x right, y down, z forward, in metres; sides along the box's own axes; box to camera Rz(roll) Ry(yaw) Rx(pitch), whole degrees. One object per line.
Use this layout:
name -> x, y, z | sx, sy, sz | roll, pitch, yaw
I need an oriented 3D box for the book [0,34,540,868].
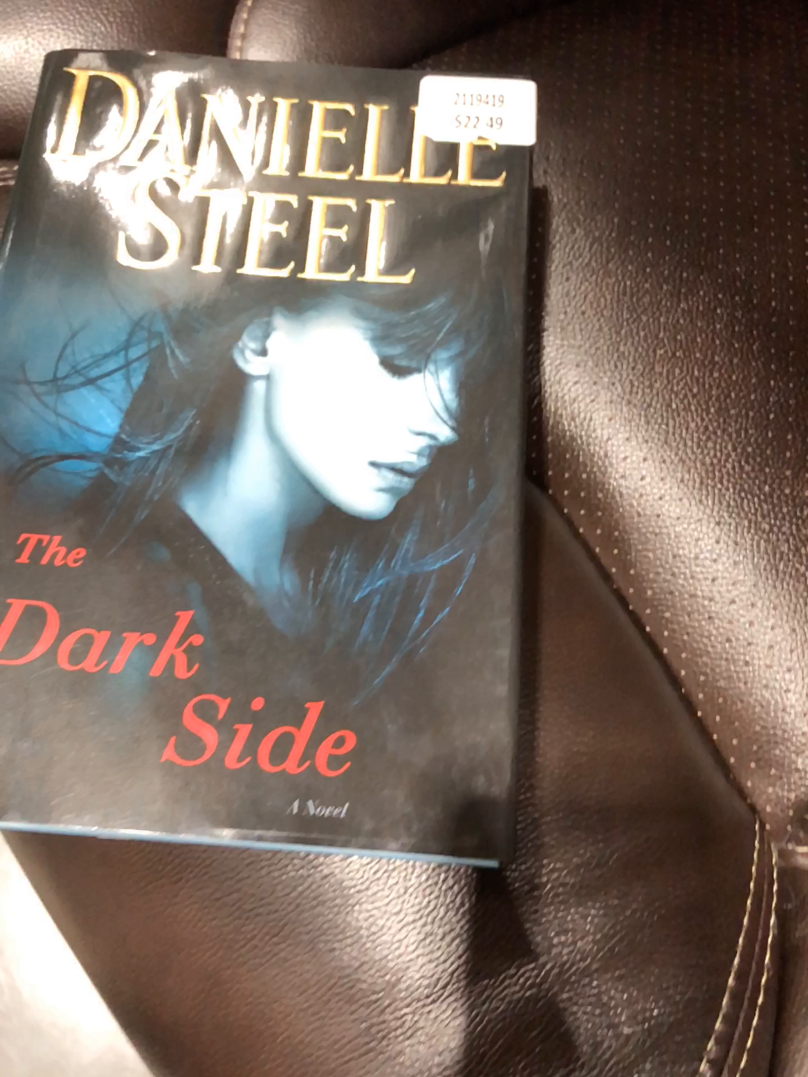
book -> -0.049, -0.035, 0.270 | 0.168, 0.040, 0.237 | 4, 73, 1
